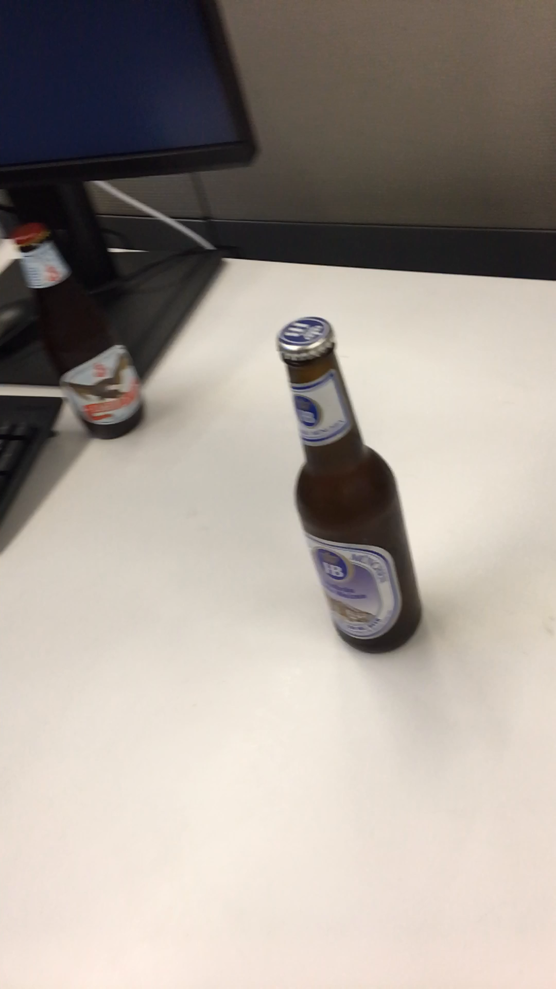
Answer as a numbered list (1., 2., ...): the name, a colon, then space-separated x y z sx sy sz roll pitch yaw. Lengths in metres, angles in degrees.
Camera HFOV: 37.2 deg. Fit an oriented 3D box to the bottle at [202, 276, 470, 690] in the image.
1. bottle: 0.045 0.003 0.473 0.080 0.230 0.080 -10 43 10
